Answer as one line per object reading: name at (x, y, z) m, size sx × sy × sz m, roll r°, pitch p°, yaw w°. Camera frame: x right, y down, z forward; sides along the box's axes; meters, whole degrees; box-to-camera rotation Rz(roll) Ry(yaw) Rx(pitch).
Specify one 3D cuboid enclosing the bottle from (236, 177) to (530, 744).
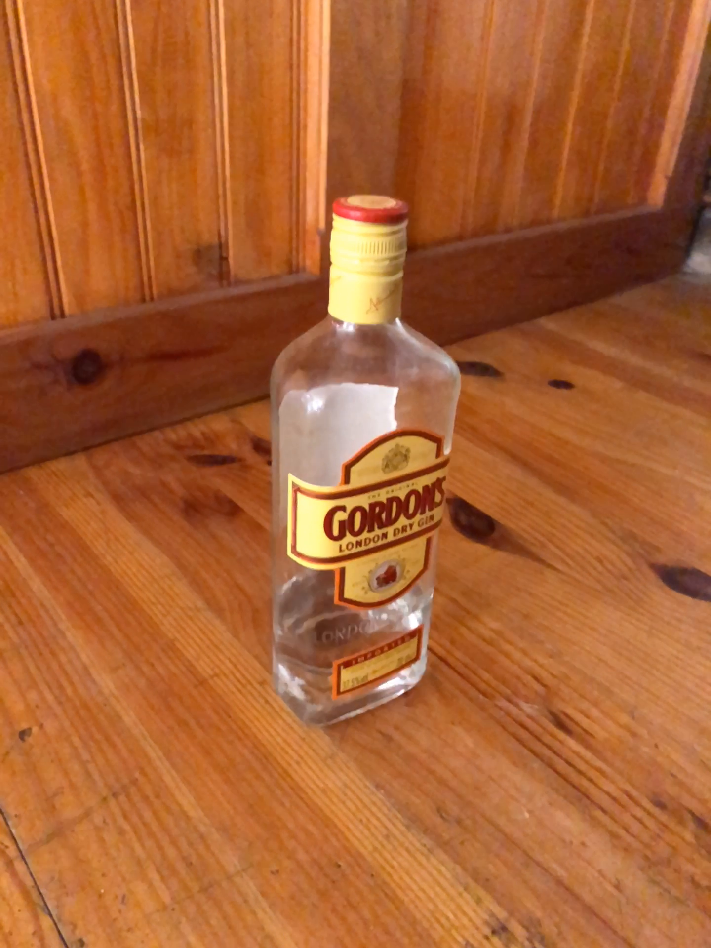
bottle at (0.004, 0.001, 0.352) m, size 0.090 × 0.239 × 0.060 m, roll -15°, pitch 36°, yaw -28°
